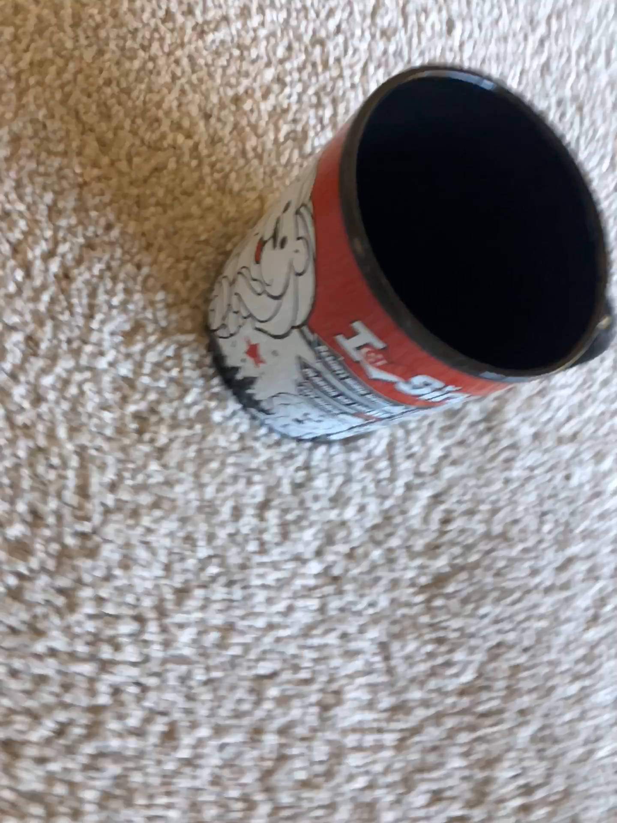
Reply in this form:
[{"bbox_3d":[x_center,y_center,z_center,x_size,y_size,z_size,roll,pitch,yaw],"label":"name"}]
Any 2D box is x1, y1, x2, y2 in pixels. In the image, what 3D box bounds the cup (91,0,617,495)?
[{"bbox_3d":[0.021,-0.039,0.201,0.130,0.090,0.090,17,70,-22],"label":"cup"}]
